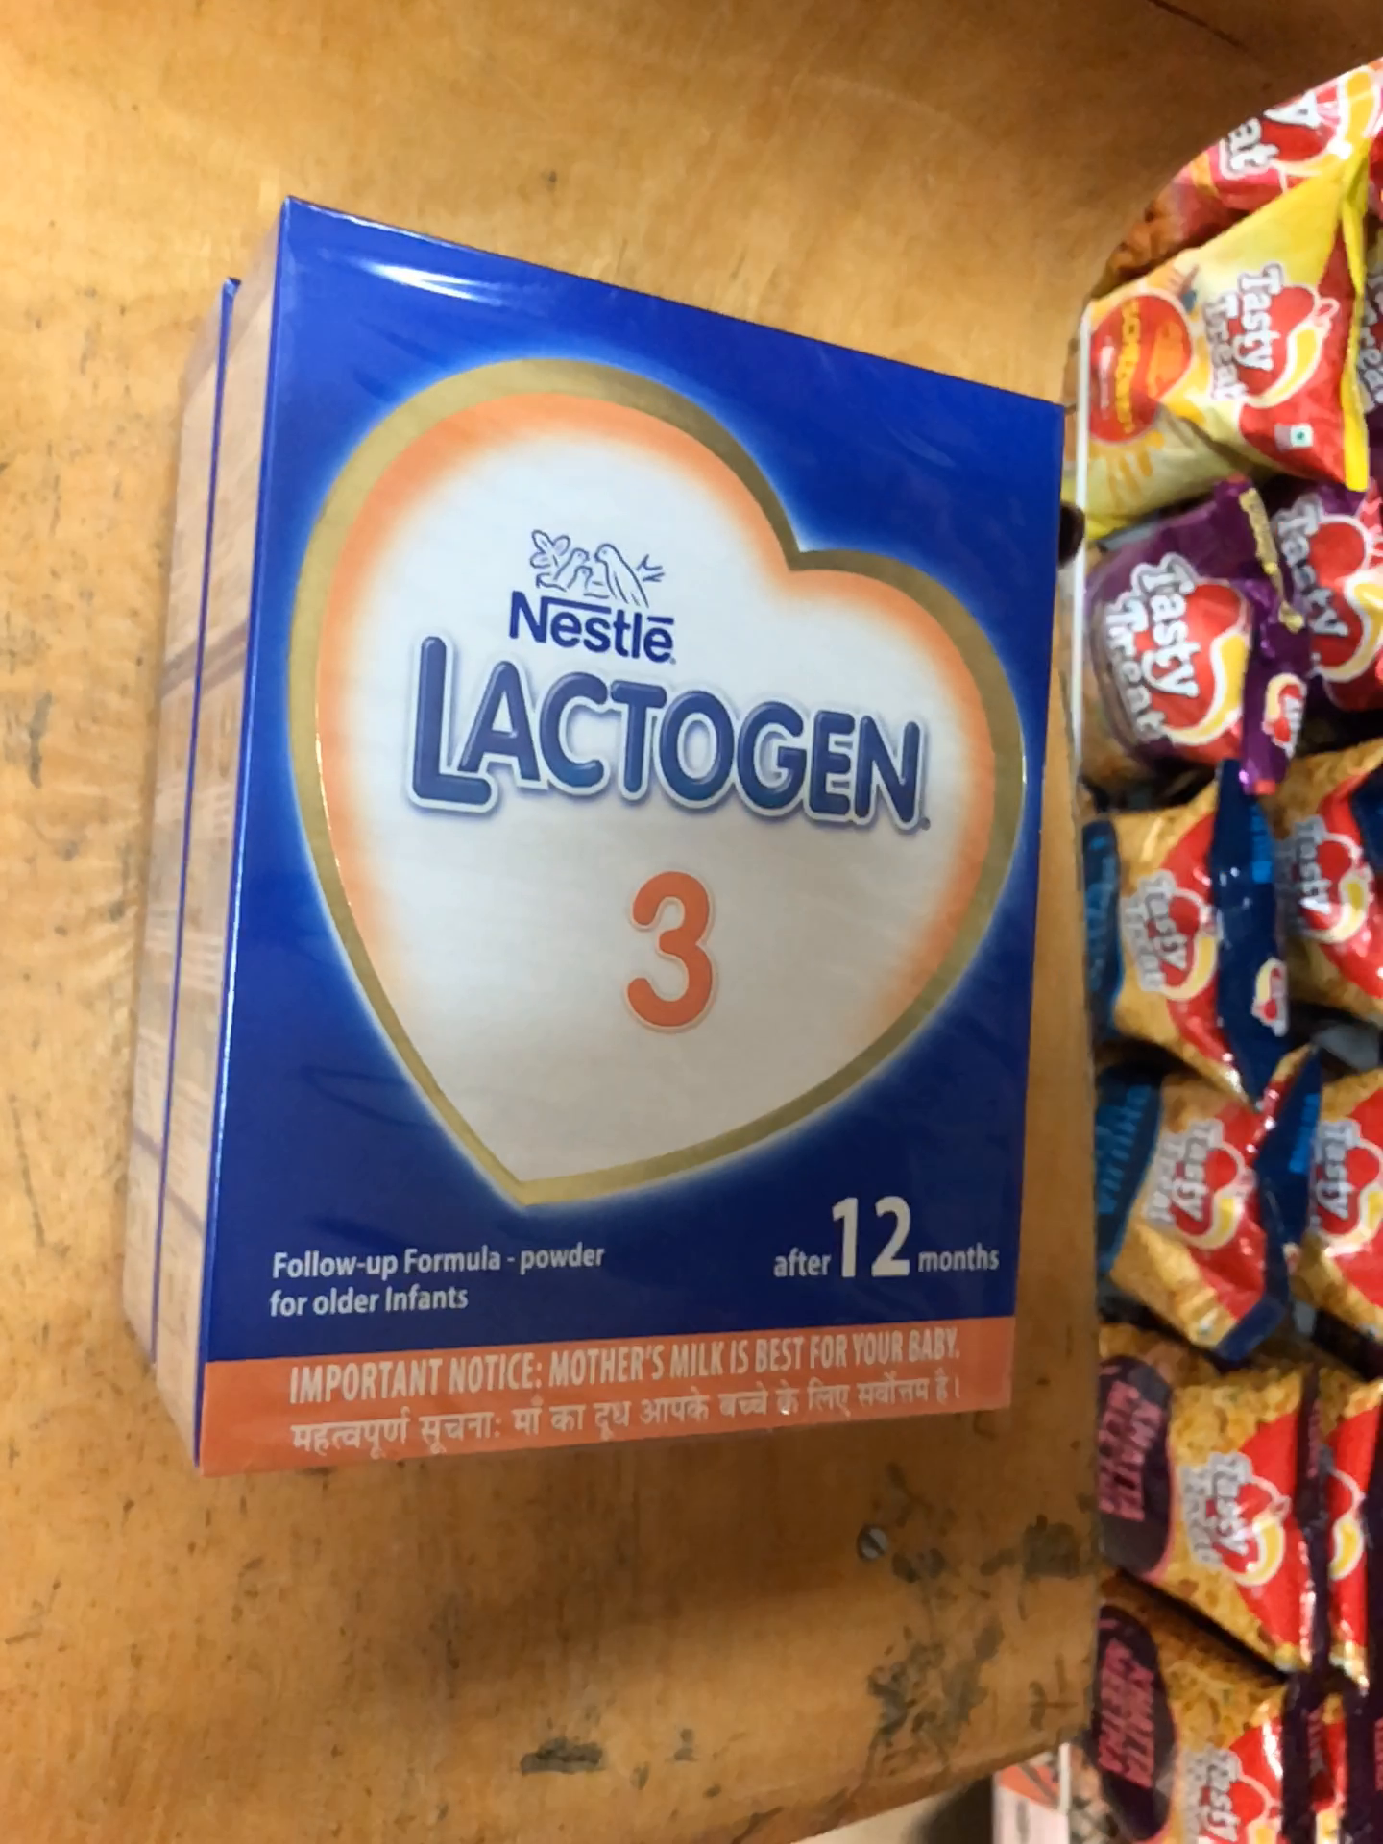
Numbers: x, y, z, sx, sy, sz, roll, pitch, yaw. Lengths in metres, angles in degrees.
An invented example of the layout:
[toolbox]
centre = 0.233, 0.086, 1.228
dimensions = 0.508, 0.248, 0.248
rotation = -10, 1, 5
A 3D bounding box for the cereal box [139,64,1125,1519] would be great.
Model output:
[cereal box]
centre = -0.008, -0.014, 0.272
dimensions = 0.150, 0.060, 0.200
rotation = 4, 88, -27
